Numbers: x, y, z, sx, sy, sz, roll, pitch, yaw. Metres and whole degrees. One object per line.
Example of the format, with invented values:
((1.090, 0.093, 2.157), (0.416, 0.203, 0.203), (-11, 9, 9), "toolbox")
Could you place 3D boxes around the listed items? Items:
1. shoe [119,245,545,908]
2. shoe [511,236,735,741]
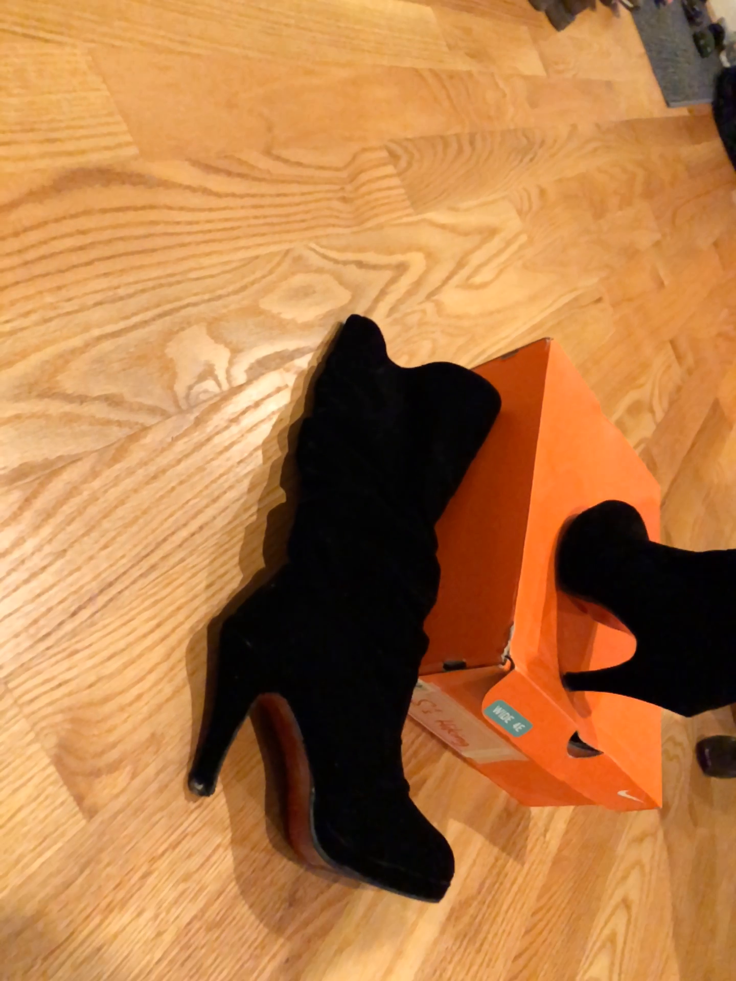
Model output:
((0.014, 0.041, 0.563), (0.207, 0.088, 0.401), (42, 45, -30), "shoe")
((0.301, 0.020, 0.508), (0.089, 0.397, 0.217), (48, 42, -28), "shoe")
